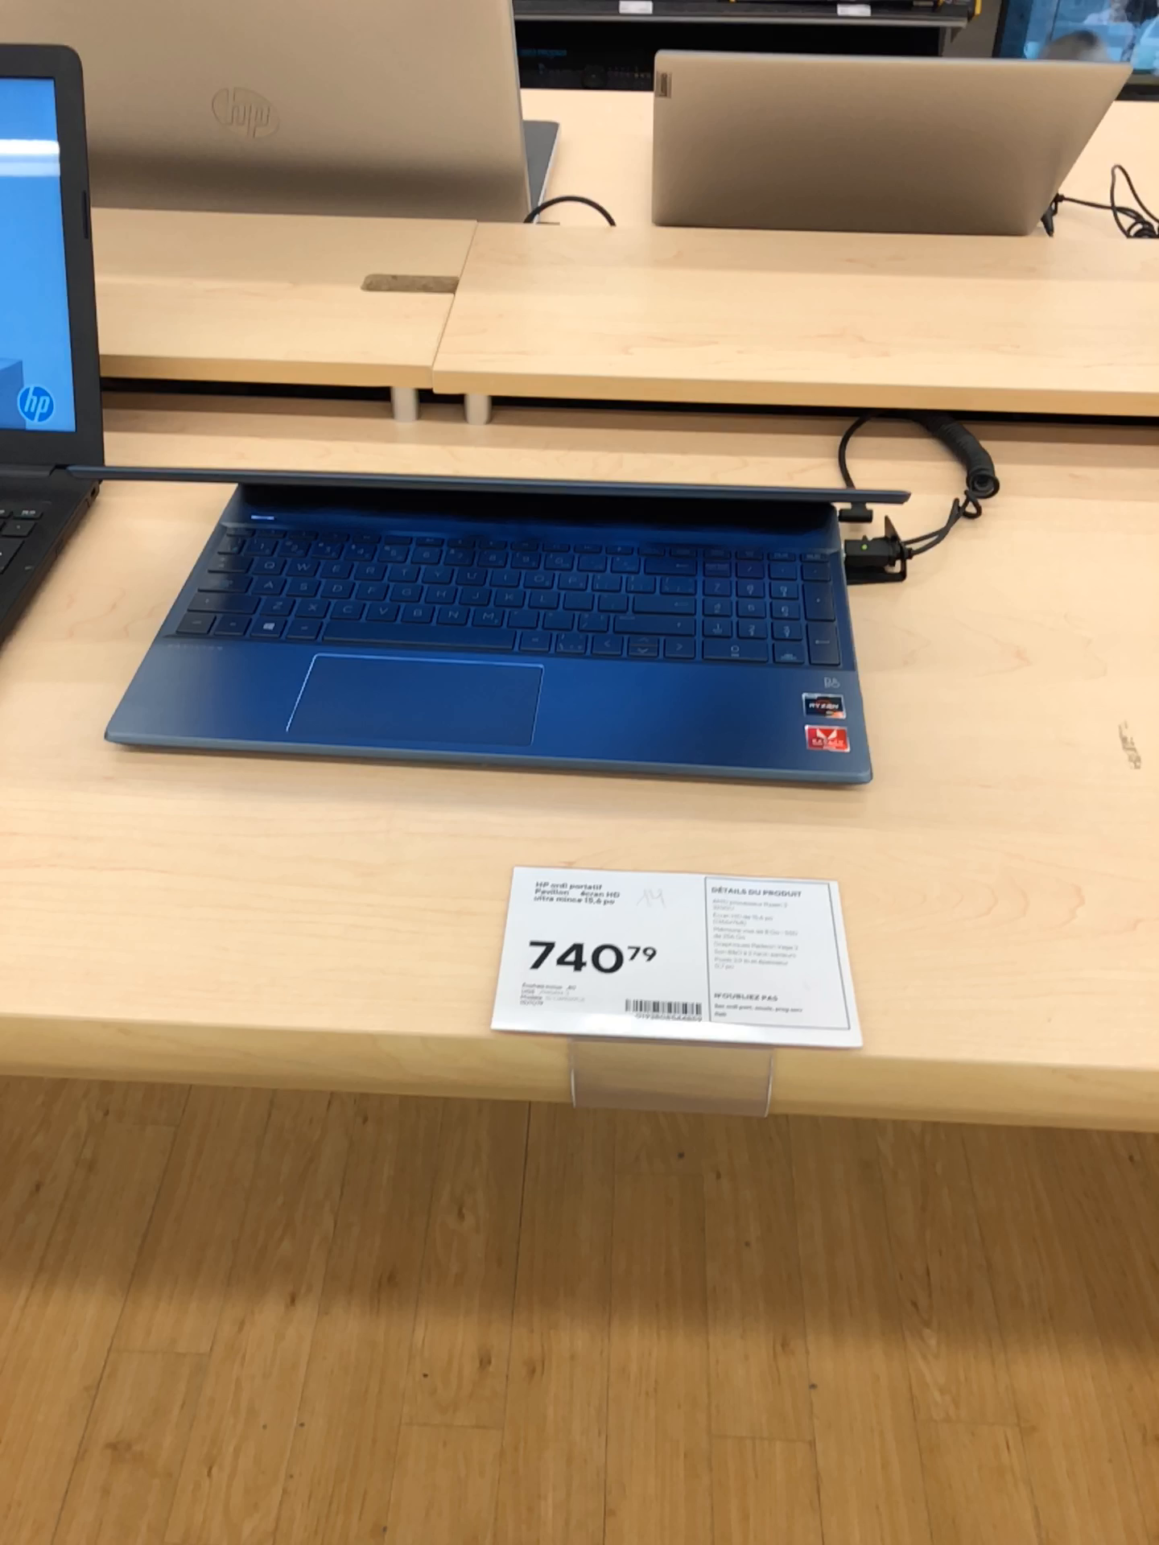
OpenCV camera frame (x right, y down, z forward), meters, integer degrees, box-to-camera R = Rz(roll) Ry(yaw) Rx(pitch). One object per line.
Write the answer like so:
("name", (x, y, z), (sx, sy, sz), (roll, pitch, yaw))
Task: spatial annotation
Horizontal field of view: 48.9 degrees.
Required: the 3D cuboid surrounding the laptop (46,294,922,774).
("laptop", (-0.033, -0.124, 0.621), (0.349, 0.119, 0.210), (3, 44, 3))
